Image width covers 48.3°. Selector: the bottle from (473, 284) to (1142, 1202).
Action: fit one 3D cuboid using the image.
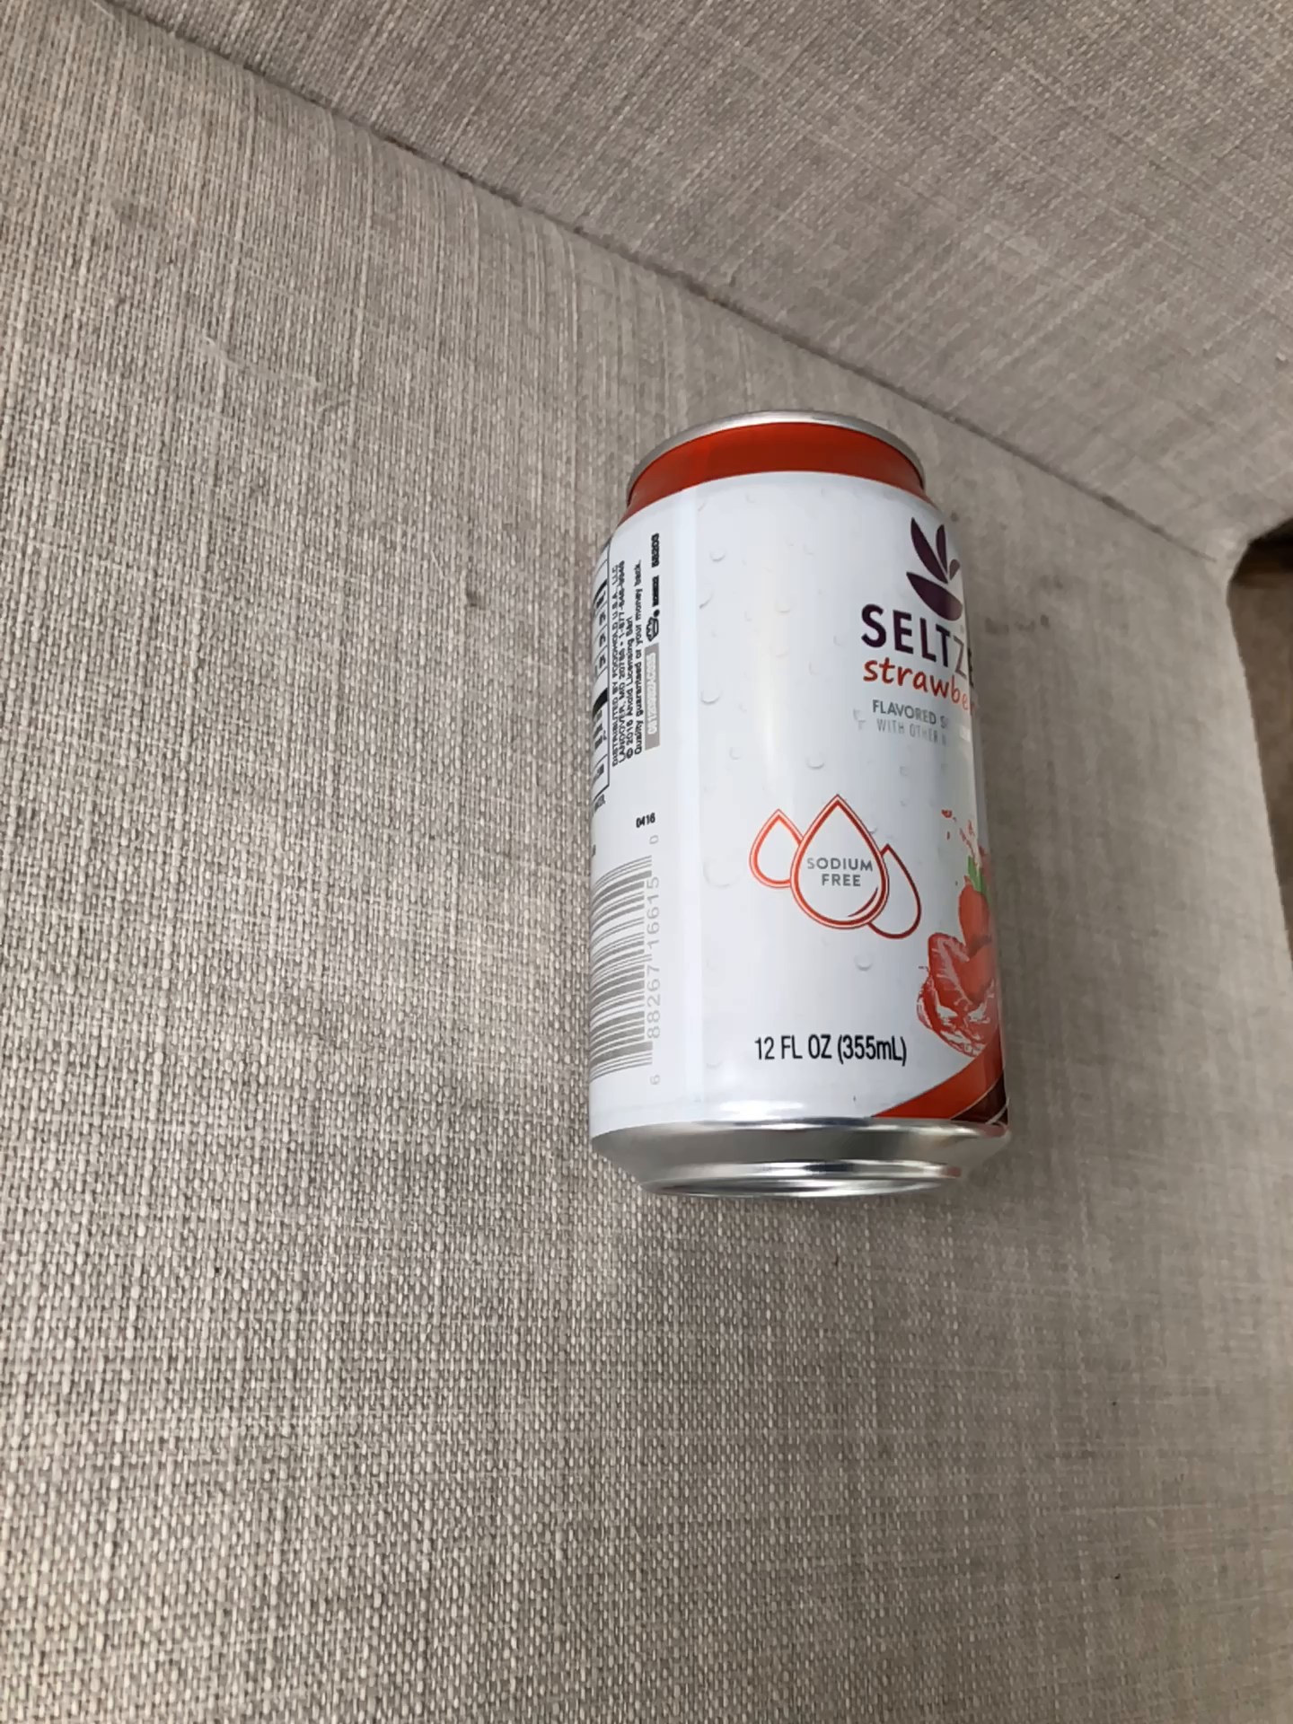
[{"bbox_3d":[0.023,-0.009,0.230,0.070,0.069,0.120,12,71,-36],"label":"bottle"}]
